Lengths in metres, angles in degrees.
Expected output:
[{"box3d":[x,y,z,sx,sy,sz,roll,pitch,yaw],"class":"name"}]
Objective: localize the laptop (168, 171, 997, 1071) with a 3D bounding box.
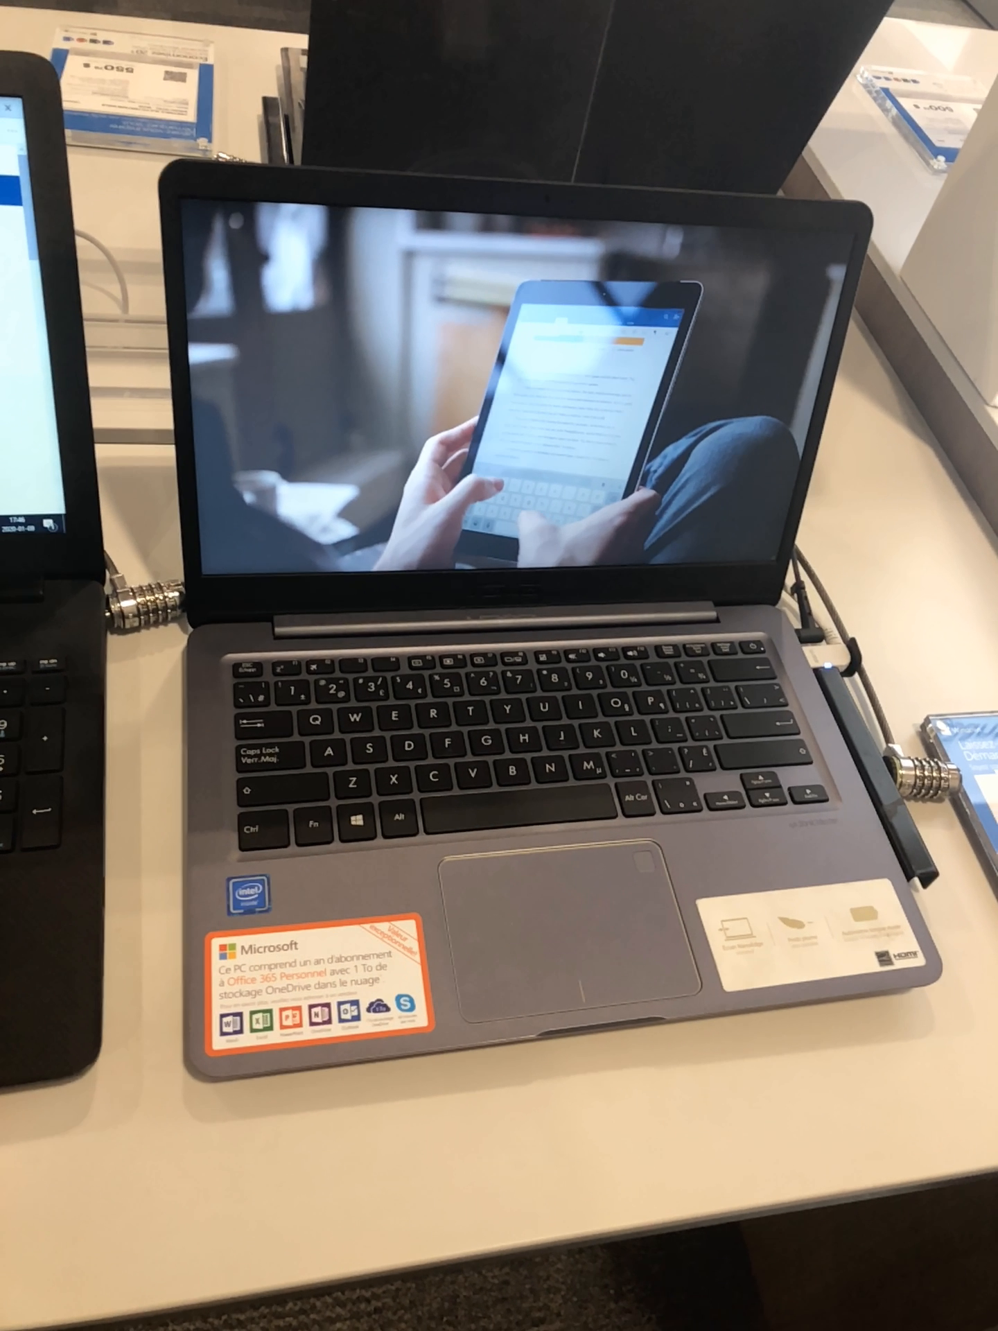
[{"box3d":[0.033,-0.032,0.465,0.316,0.196,0.292,-3,52,-14],"class":"laptop"}]
